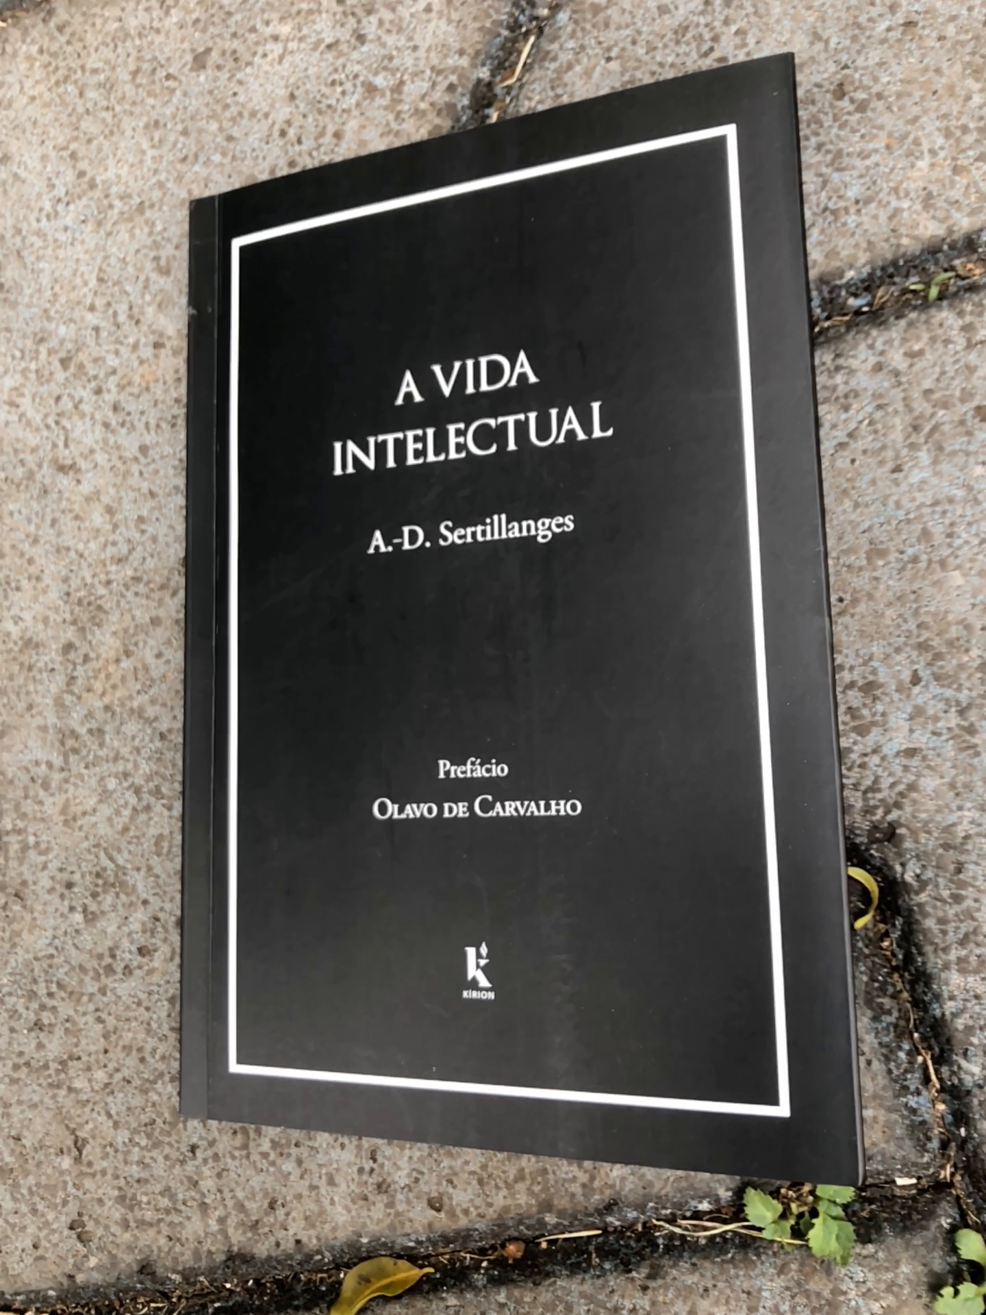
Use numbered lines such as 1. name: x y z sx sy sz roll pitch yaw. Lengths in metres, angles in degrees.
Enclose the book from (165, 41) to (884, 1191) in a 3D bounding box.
1. book: -0.001 -0.008 0.219 0.136 0.020 0.196 -4 83 21
